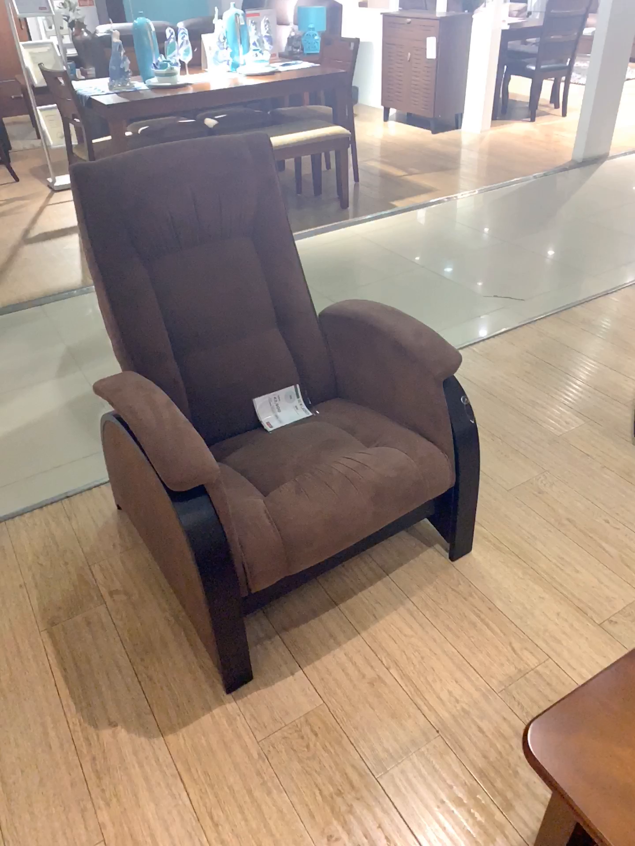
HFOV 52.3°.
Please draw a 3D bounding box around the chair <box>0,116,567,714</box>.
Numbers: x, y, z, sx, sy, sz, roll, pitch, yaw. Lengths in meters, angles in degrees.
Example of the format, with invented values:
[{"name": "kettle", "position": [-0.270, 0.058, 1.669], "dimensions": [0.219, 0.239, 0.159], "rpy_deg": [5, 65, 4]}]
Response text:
[{"name": "chair", "position": [-0.147, -0.140, 1.583], "dimensions": [0.801, 0.886, 1.003], "rpy_deg": [-23, 40, -26]}]
